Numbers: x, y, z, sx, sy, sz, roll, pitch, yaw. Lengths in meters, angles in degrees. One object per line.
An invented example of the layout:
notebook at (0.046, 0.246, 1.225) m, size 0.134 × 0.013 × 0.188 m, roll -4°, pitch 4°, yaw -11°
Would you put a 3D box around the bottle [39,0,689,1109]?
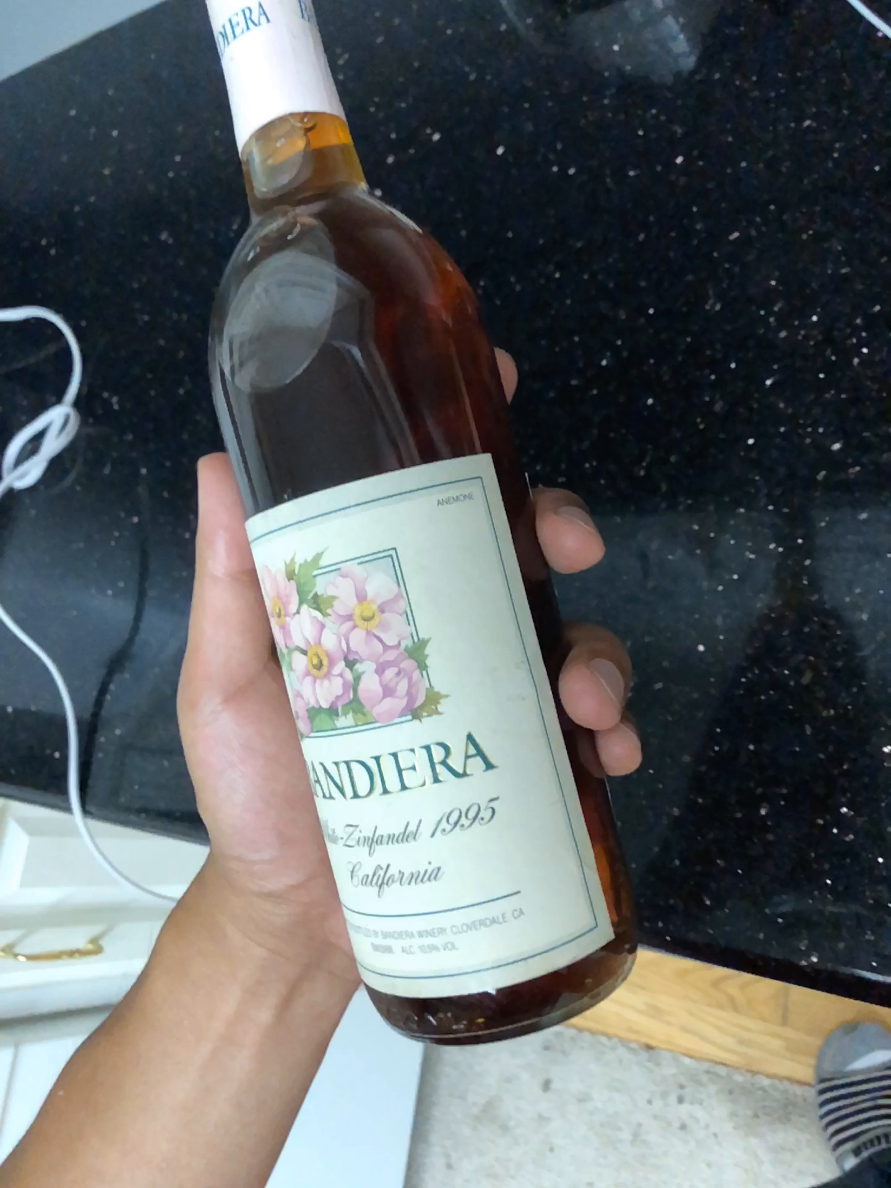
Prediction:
bottle at (-0.019, -0.035, 0.259) m, size 0.080 × 0.070 × 0.300 m, roll -13°, pitch 89°, yaw 31°
